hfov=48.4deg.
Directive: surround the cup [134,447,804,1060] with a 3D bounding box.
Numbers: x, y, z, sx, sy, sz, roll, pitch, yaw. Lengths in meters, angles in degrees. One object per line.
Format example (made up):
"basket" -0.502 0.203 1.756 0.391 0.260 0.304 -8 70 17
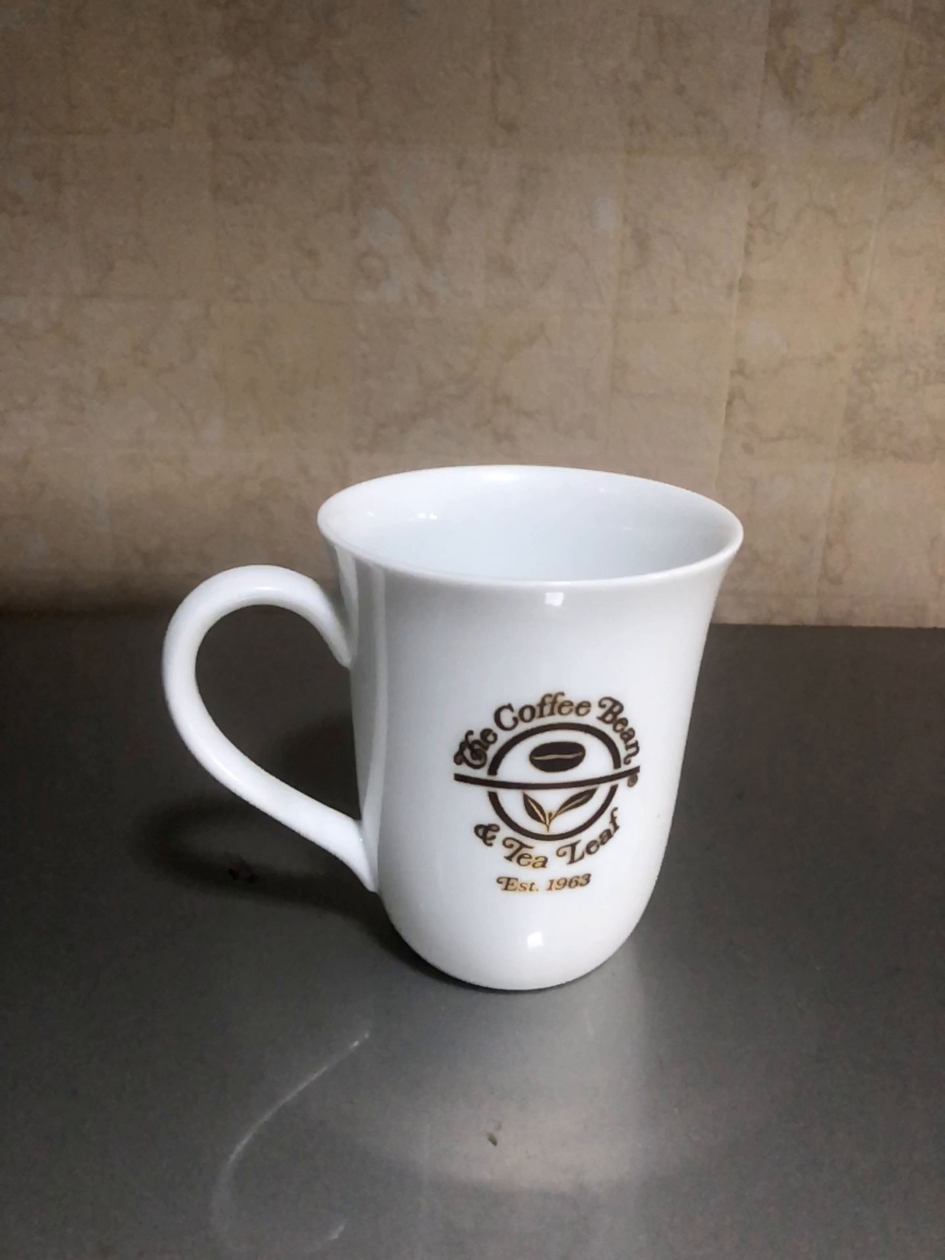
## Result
"cup" -0.008 0.020 0.259 0.130 0.109 0.090 -3 22 -13
